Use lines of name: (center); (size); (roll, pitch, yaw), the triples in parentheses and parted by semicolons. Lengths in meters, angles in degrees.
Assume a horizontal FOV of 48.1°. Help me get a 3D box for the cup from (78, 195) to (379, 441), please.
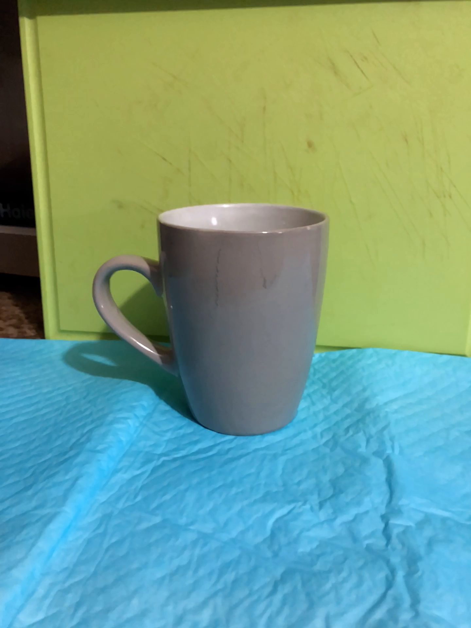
cup: (-0.006, -0.004, 0.239); (0.110, 0.090, 0.070); (-2, 18, -8)
